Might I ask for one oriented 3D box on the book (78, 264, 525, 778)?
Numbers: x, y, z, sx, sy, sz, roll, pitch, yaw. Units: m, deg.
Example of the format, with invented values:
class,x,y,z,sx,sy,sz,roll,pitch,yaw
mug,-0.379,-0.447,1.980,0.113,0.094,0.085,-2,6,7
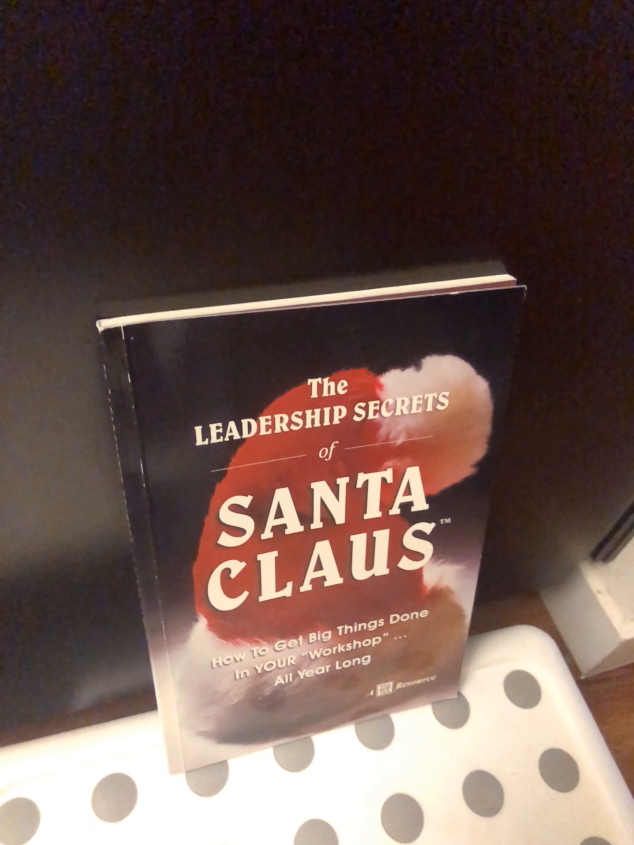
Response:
class,x,y,z,sx,sy,sz,roll,pitch,yaw
book,0.000,0.052,0.299,0.160,0.225,0.010,-9,30,-17
